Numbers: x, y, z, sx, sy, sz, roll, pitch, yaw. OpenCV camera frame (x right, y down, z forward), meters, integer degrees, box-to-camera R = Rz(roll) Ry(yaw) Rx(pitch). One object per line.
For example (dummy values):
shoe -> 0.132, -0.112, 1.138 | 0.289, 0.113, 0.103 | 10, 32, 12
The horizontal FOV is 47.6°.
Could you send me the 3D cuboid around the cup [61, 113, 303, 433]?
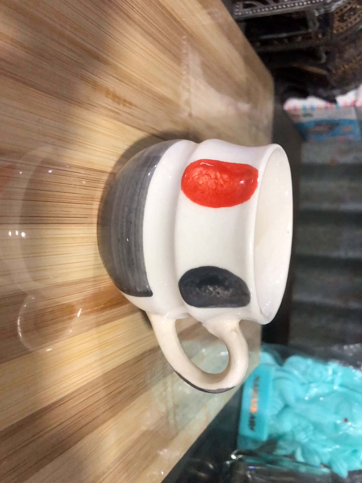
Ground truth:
cup -> 0.007, 0.003, 0.147 | 0.060, 0.060, 0.090 | -34, 125, -61
